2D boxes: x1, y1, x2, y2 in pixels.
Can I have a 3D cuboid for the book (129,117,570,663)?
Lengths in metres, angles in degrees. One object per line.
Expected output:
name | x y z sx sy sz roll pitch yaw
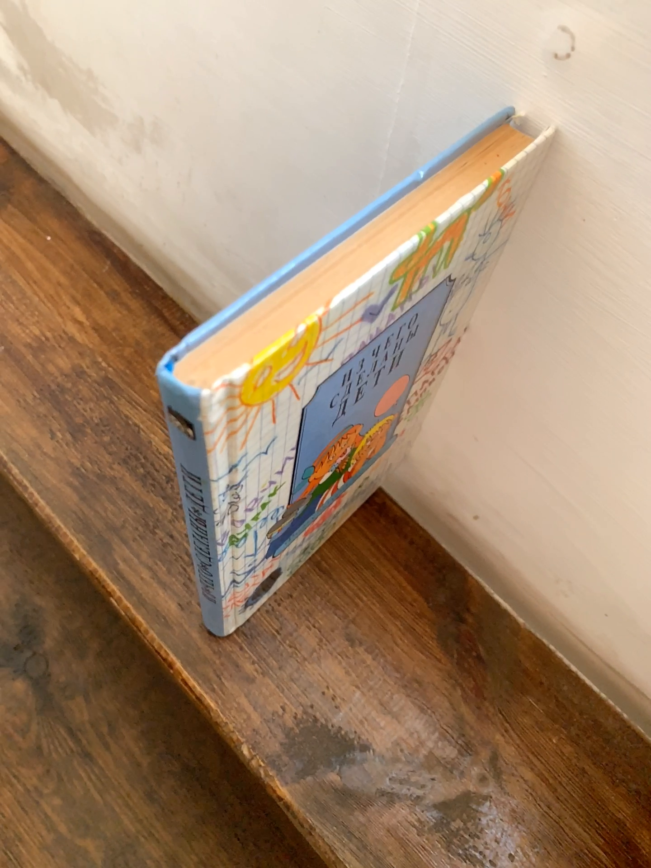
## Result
book | 0.004 0.006 0.240 0.020 0.195 0.131 41 64 16
